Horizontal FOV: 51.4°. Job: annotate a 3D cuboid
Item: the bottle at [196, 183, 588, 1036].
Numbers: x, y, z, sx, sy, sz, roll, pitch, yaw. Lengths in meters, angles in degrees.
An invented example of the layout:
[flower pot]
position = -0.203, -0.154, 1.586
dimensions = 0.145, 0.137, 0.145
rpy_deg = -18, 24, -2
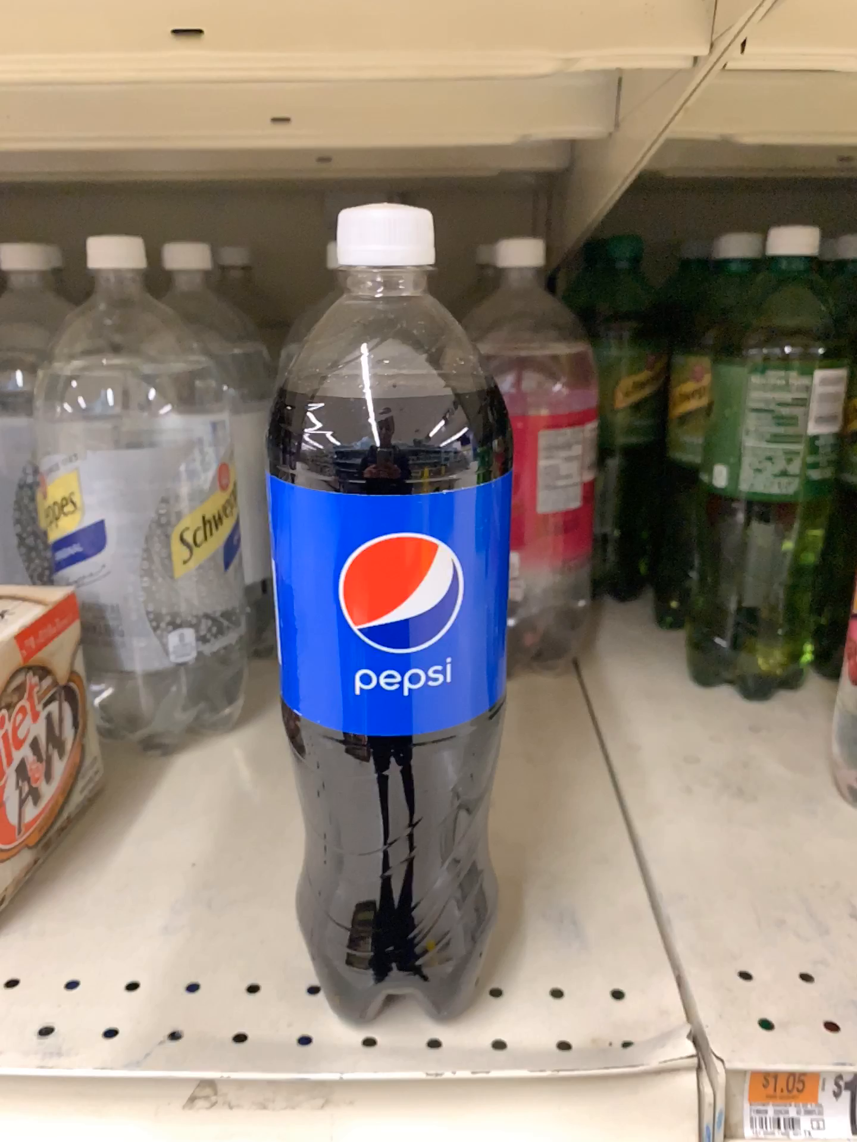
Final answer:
[bottle]
position = -0.010, 0.018, 0.316
dimensions = 0.101, 0.279, 0.090
rpy_deg = 0, 18, -1
